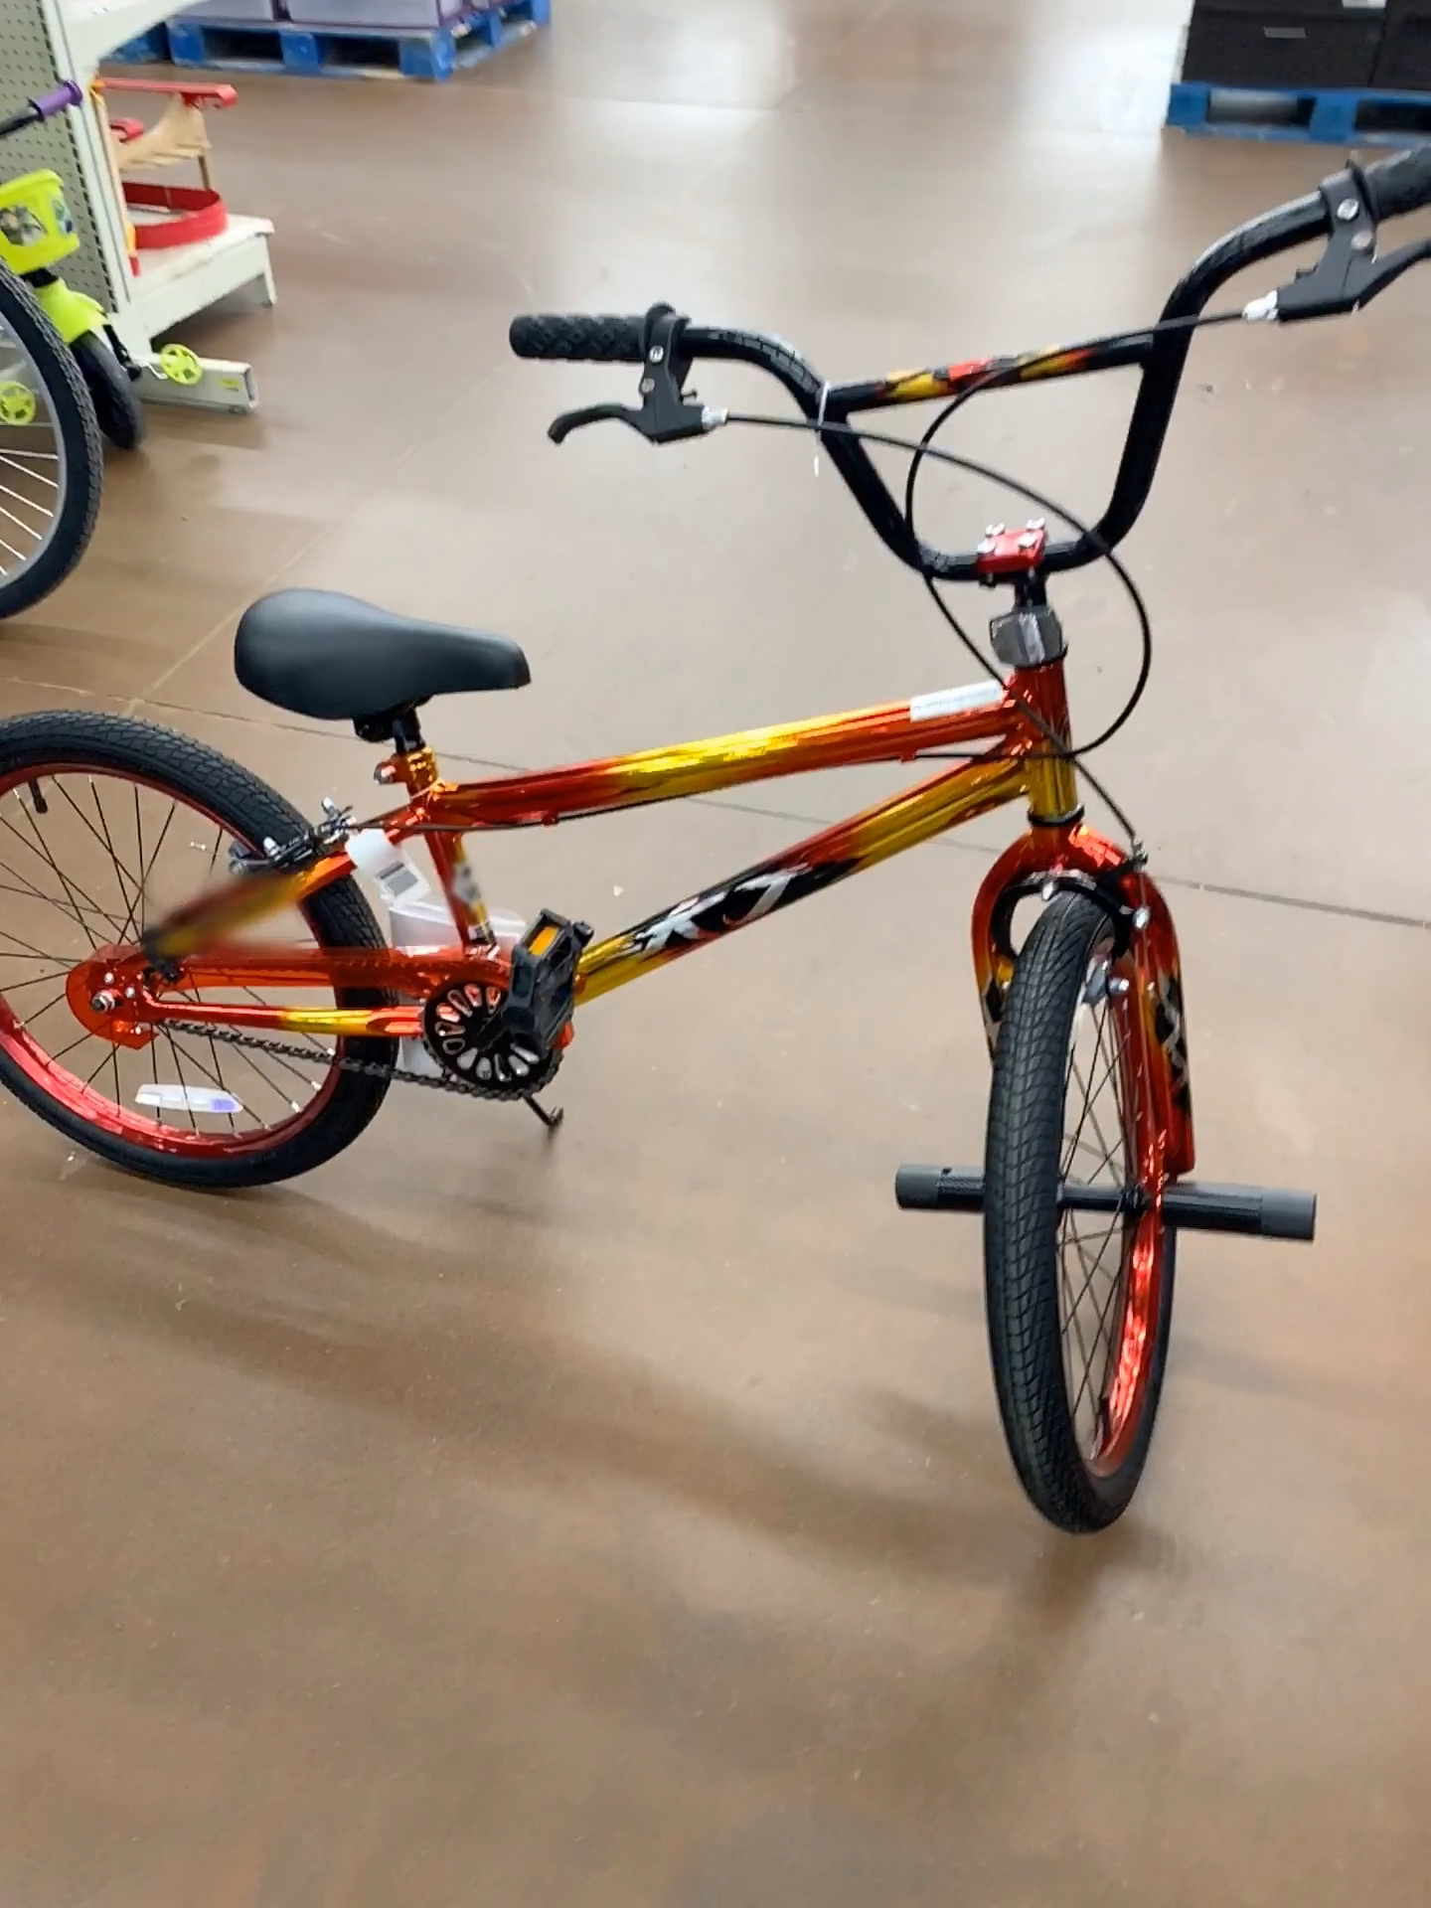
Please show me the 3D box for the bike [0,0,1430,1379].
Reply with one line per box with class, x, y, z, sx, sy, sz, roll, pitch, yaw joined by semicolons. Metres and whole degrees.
bike;-0.166;-0.233;1.192;1.122;0.925;0.707;3;41;5
